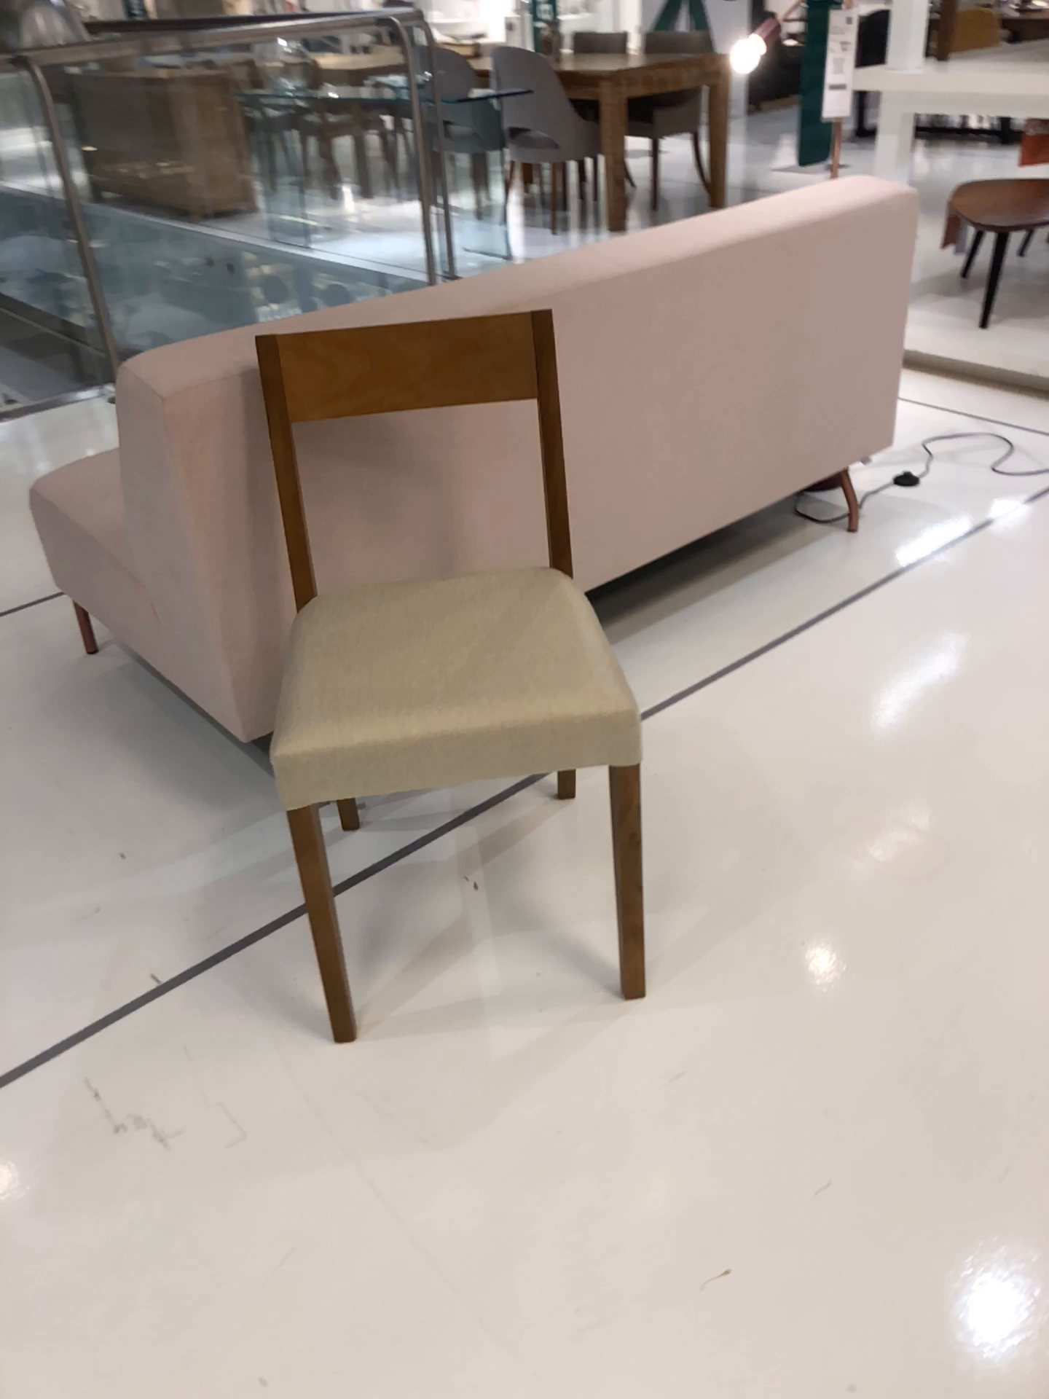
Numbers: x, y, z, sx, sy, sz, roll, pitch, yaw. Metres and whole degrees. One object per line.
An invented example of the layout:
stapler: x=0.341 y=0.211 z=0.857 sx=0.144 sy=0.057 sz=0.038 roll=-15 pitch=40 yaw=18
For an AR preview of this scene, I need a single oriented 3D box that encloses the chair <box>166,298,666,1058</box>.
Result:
chair: x=-0.106 y=-0.047 z=1.590 sx=0.490 sy=0.814 sz=0.595 roll=-6 pitch=32 yaw=-3
